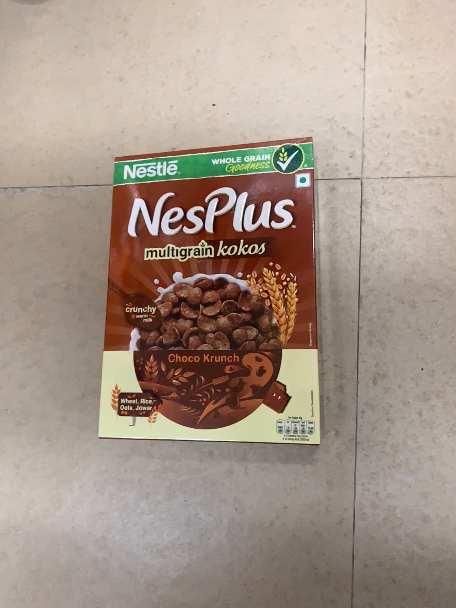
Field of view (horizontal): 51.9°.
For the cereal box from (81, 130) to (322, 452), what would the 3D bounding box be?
[{"bbox_3d":[-0.017,-0.009,0.463,0.210,0.090,0.280,-1,80,12],"label":"cereal box"}]
